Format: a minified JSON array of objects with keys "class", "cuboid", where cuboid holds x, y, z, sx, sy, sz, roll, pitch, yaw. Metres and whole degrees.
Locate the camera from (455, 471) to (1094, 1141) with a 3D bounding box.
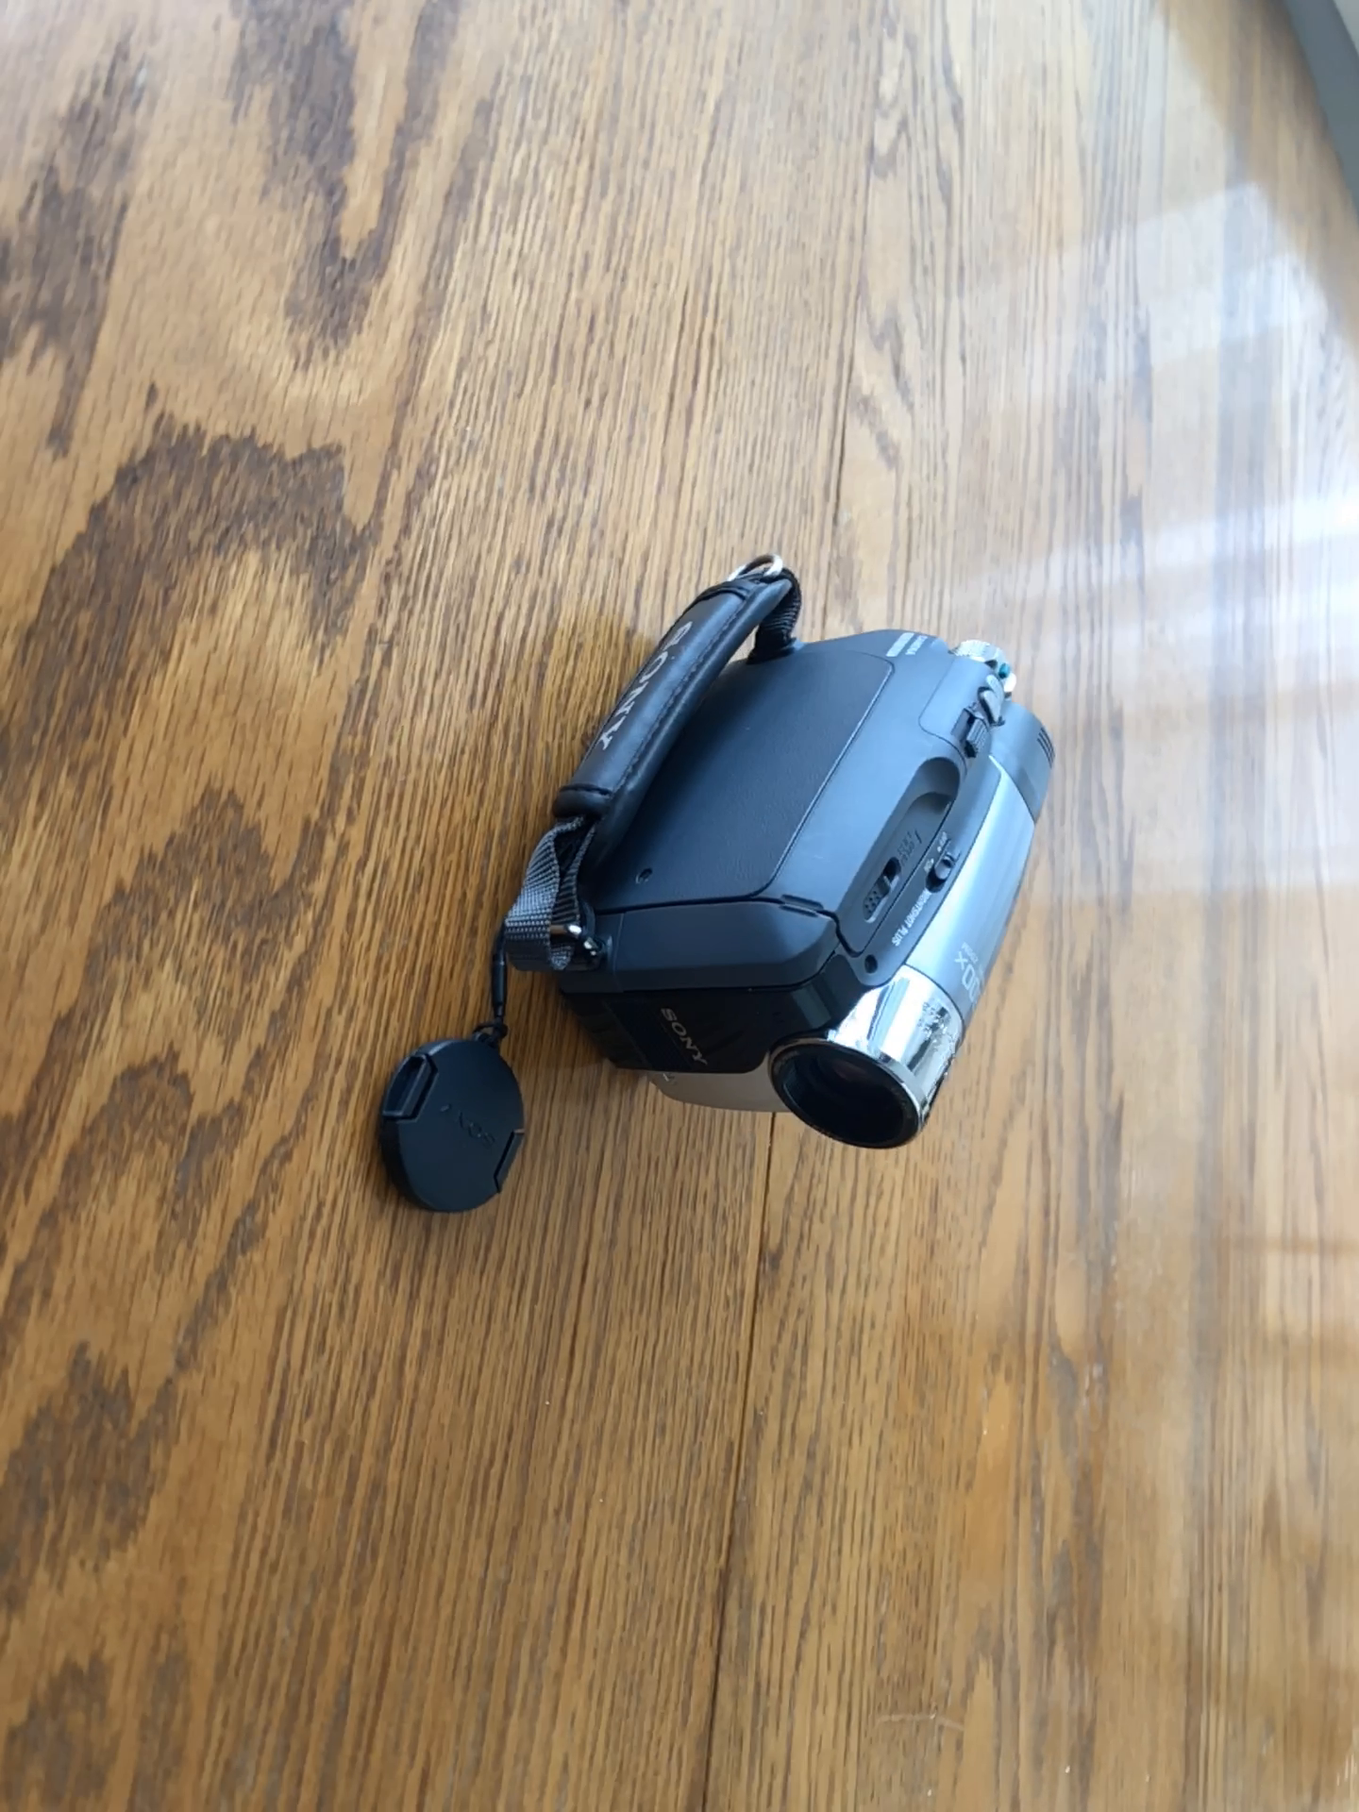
[{"class":"camera","cuboid":[0.027,-0.020,0.320,0.080,0.072,0.112,56,47,-31]}]
